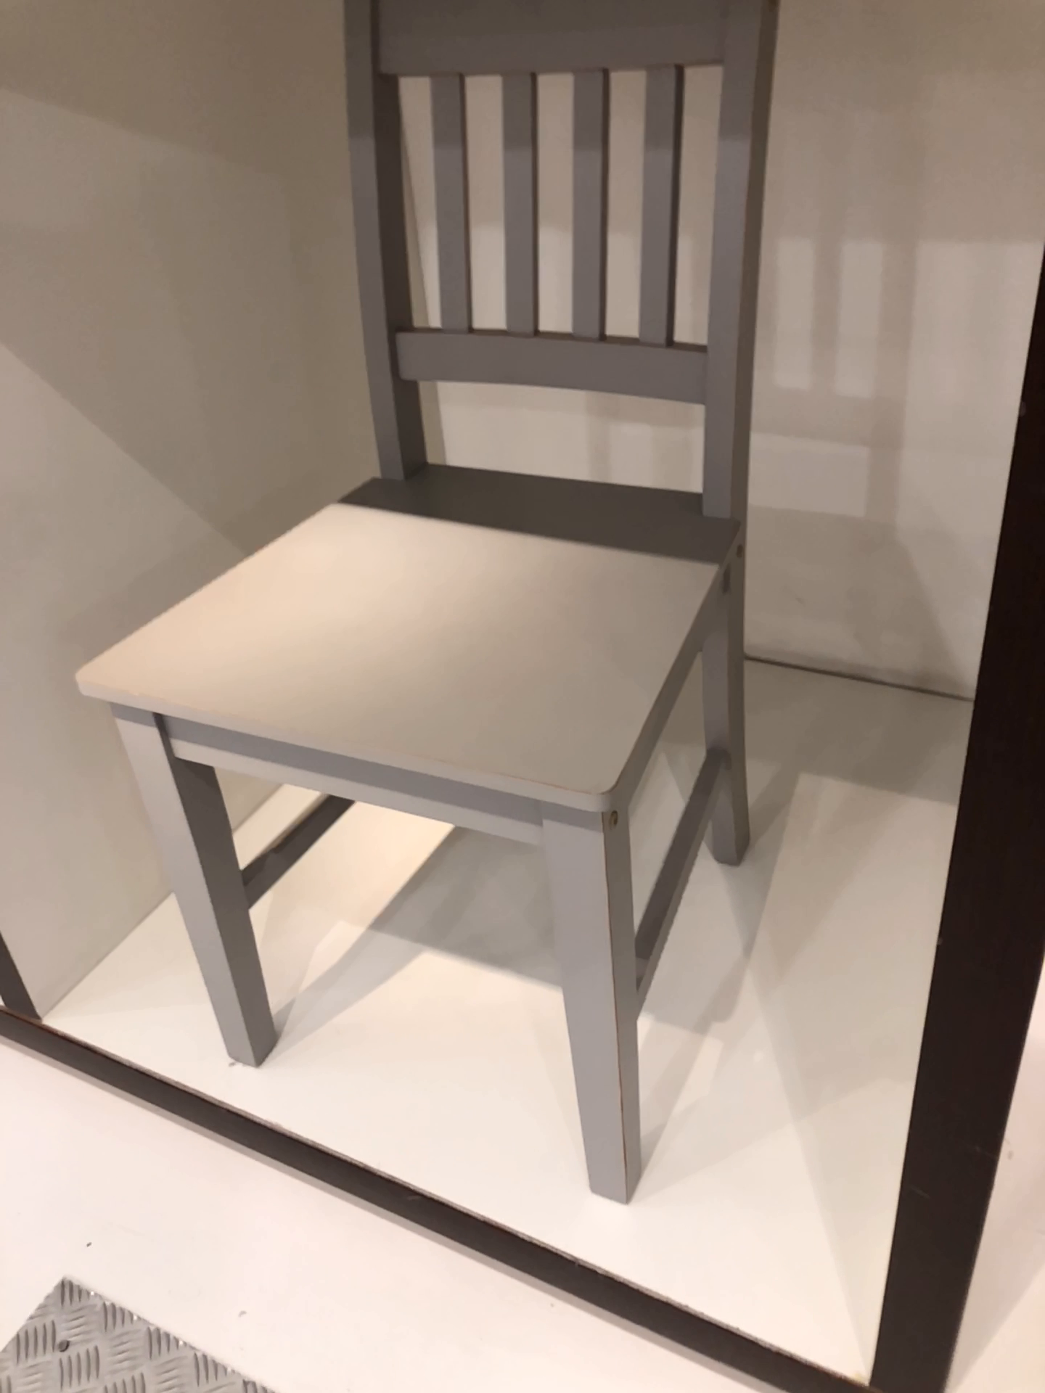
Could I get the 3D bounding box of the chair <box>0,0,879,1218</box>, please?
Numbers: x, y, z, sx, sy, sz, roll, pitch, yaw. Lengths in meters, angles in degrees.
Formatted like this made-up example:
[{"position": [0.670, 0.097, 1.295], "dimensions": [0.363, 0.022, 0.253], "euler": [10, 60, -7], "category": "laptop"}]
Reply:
[{"position": [-0.029, -0.147, 0.967], "dimensions": [0.461, 0.863, 0.584], "euler": [11, 37, 23], "category": "chair"}]
